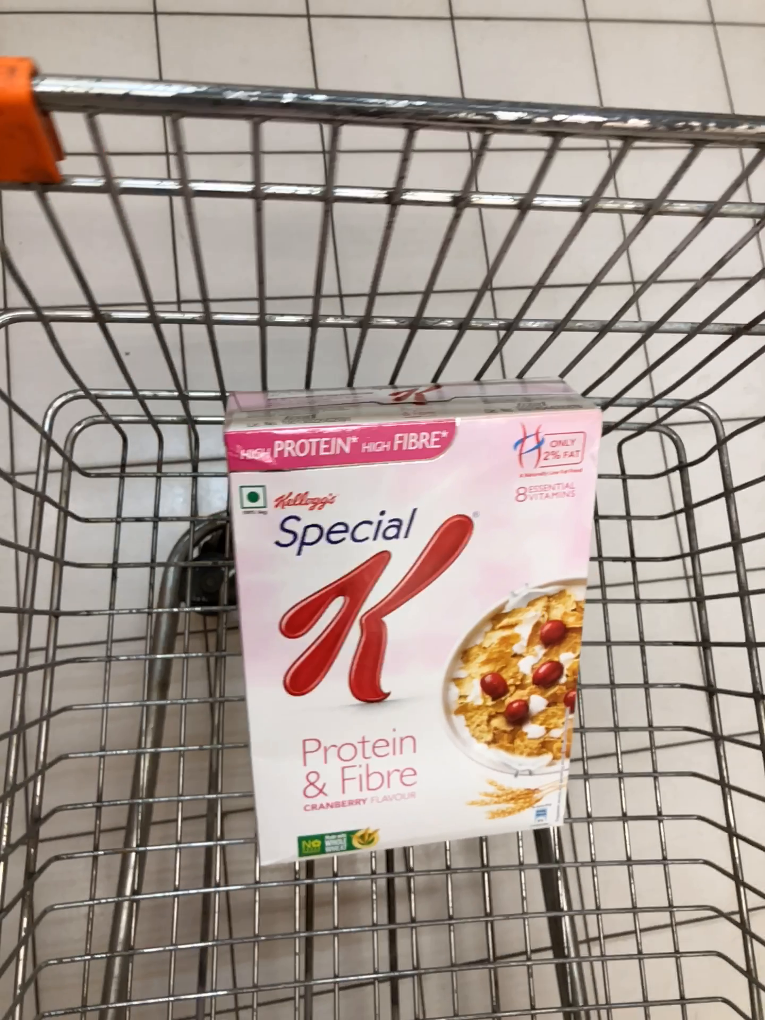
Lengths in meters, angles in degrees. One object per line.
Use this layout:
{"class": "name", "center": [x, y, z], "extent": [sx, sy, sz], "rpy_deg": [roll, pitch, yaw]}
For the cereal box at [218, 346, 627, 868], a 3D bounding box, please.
{"class": "cereal box", "center": [0.013, 0.054, 0.488], "extent": [0.190, 0.100, 0.269], "rpy_deg": [-4, 116, -10]}
